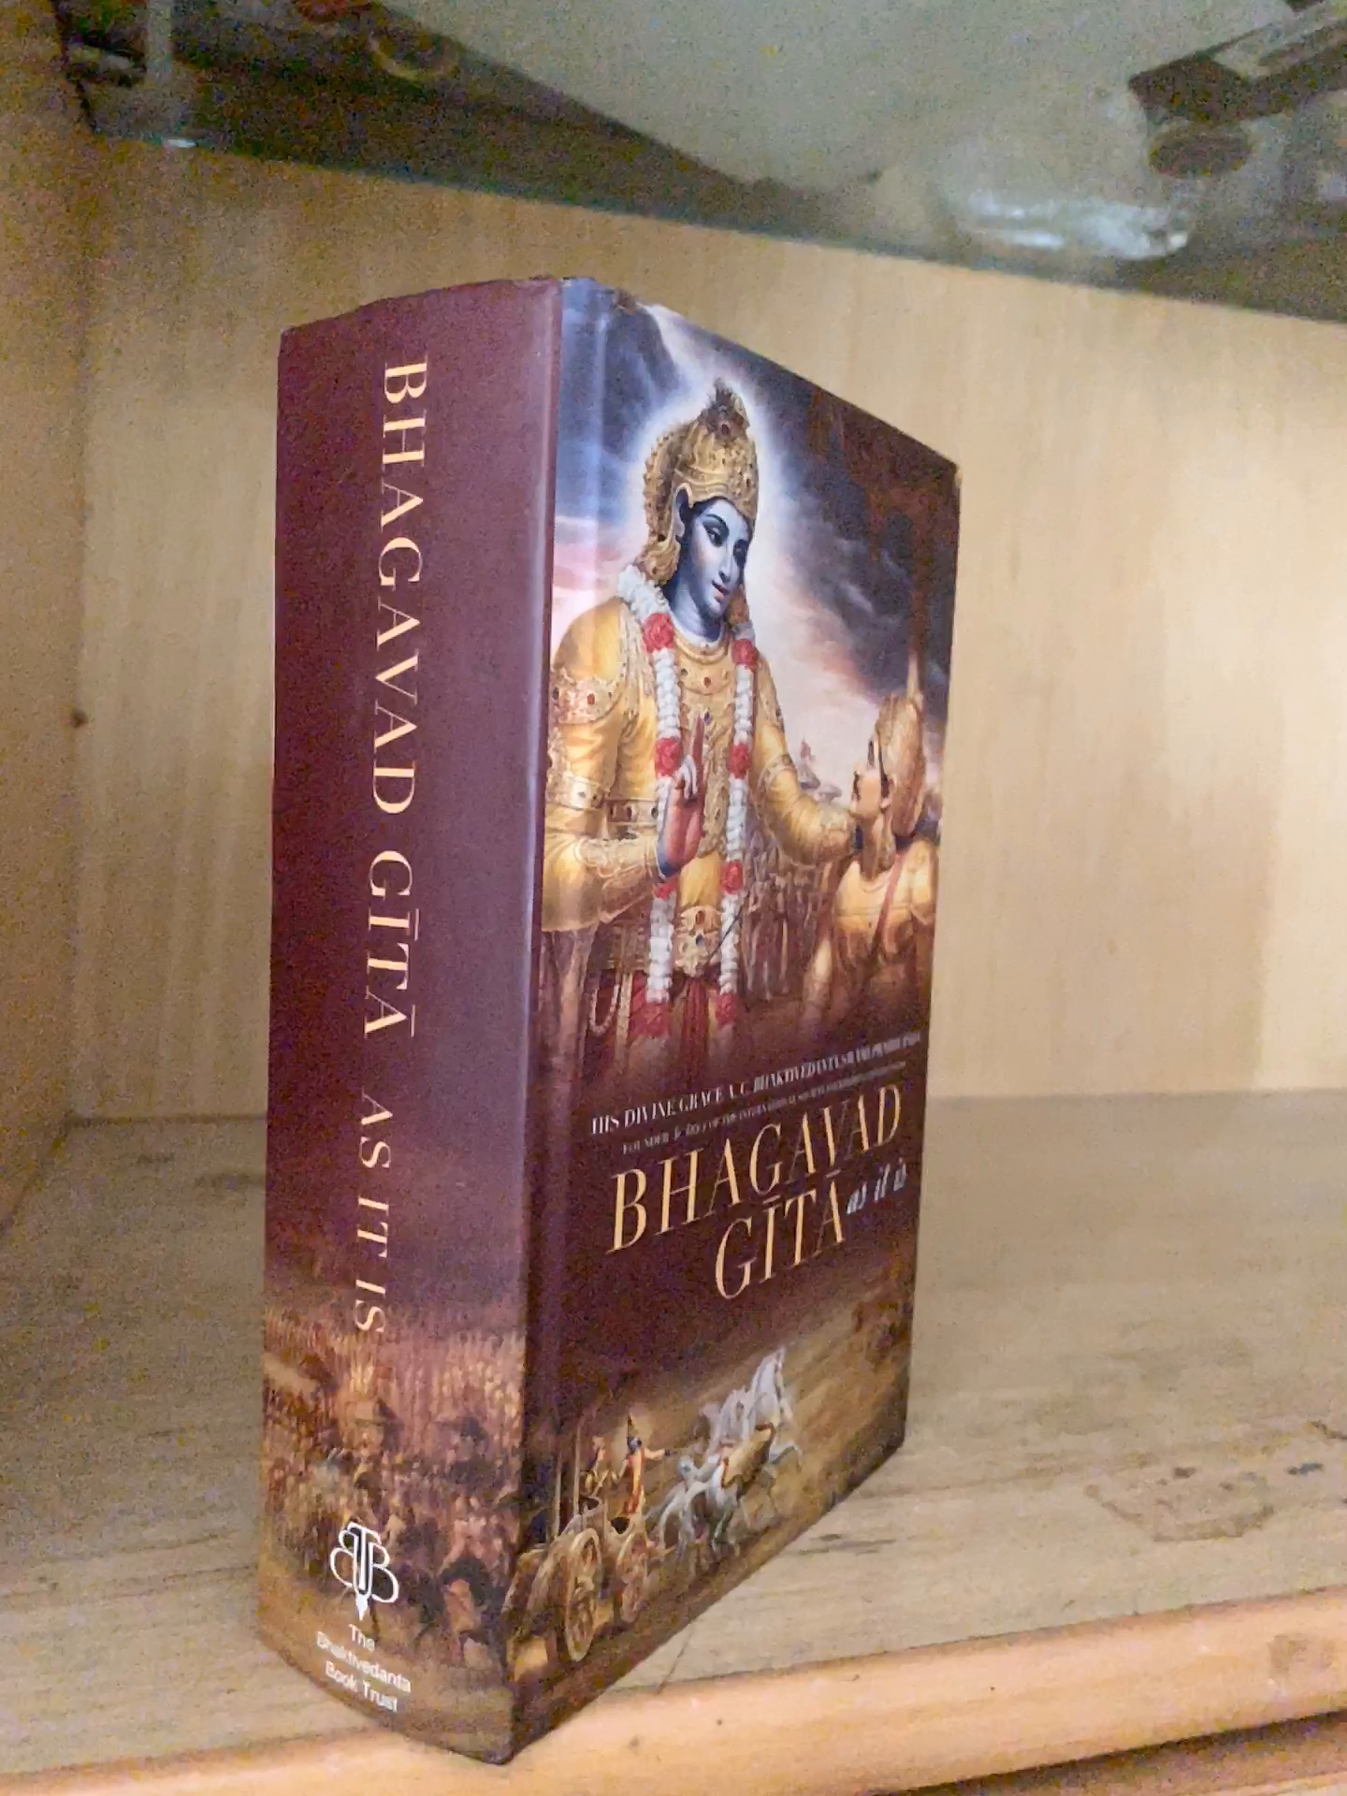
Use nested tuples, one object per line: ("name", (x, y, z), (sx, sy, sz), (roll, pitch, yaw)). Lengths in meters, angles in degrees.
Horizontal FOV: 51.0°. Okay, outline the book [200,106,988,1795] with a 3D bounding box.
("book", (-0.005, 0.006, 0.260), (0.070, 0.220, 0.140), (3, 3, 34))
